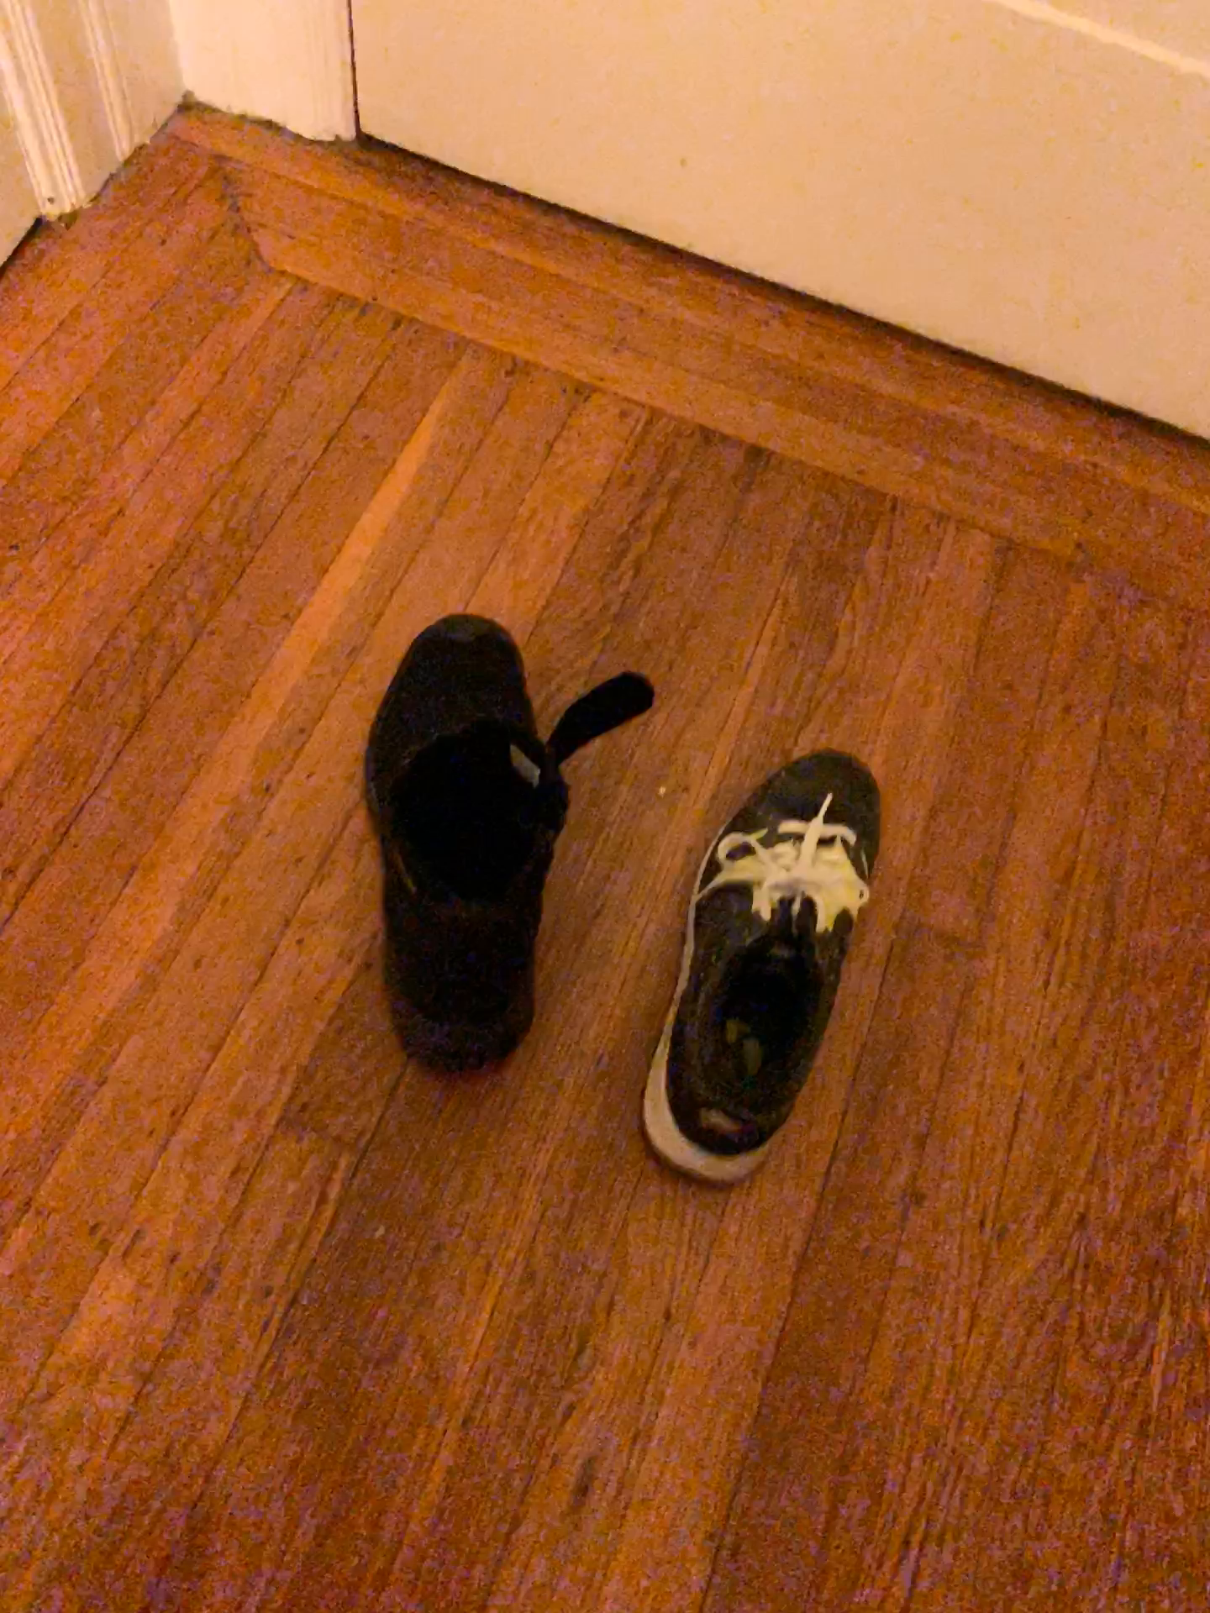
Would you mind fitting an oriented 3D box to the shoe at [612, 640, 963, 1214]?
[{"bbox_3d":[0.108,0.064,0.714,0.120,0.100,0.291,18,63,2],"label":"shoe"}]

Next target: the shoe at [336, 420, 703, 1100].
[{"bbox_3d":[-0.059,-0.016,0.716,0.160,0.239,0.311,0,64,-8],"label":"shoe"}]
